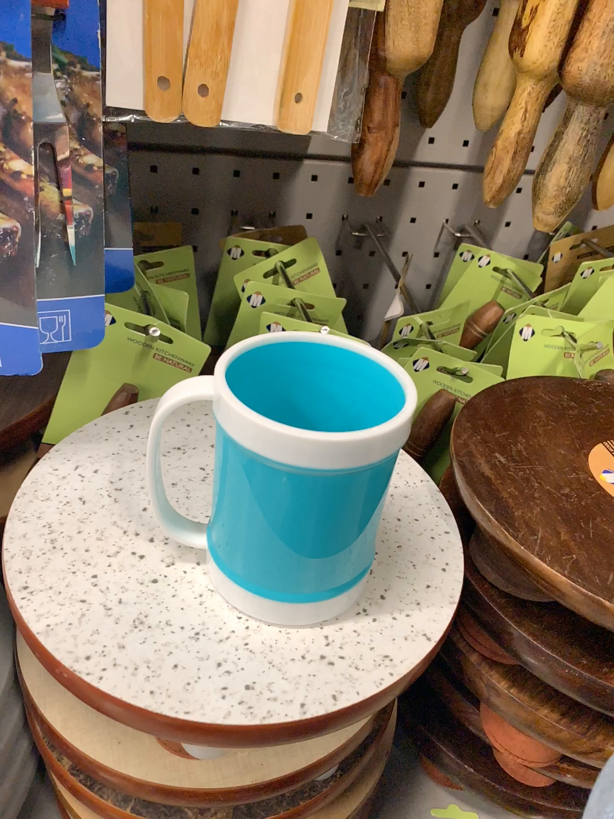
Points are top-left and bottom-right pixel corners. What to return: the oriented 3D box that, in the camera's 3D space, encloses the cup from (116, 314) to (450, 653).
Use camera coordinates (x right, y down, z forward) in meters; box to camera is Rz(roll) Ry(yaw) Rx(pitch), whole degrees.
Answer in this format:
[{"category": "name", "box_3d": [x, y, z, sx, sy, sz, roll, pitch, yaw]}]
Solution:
[{"category": "cup", "box_3d": [-0.014, 0.032, 0.271, 0.110, 0.110, 0.080, 5, 33, -5]}]
